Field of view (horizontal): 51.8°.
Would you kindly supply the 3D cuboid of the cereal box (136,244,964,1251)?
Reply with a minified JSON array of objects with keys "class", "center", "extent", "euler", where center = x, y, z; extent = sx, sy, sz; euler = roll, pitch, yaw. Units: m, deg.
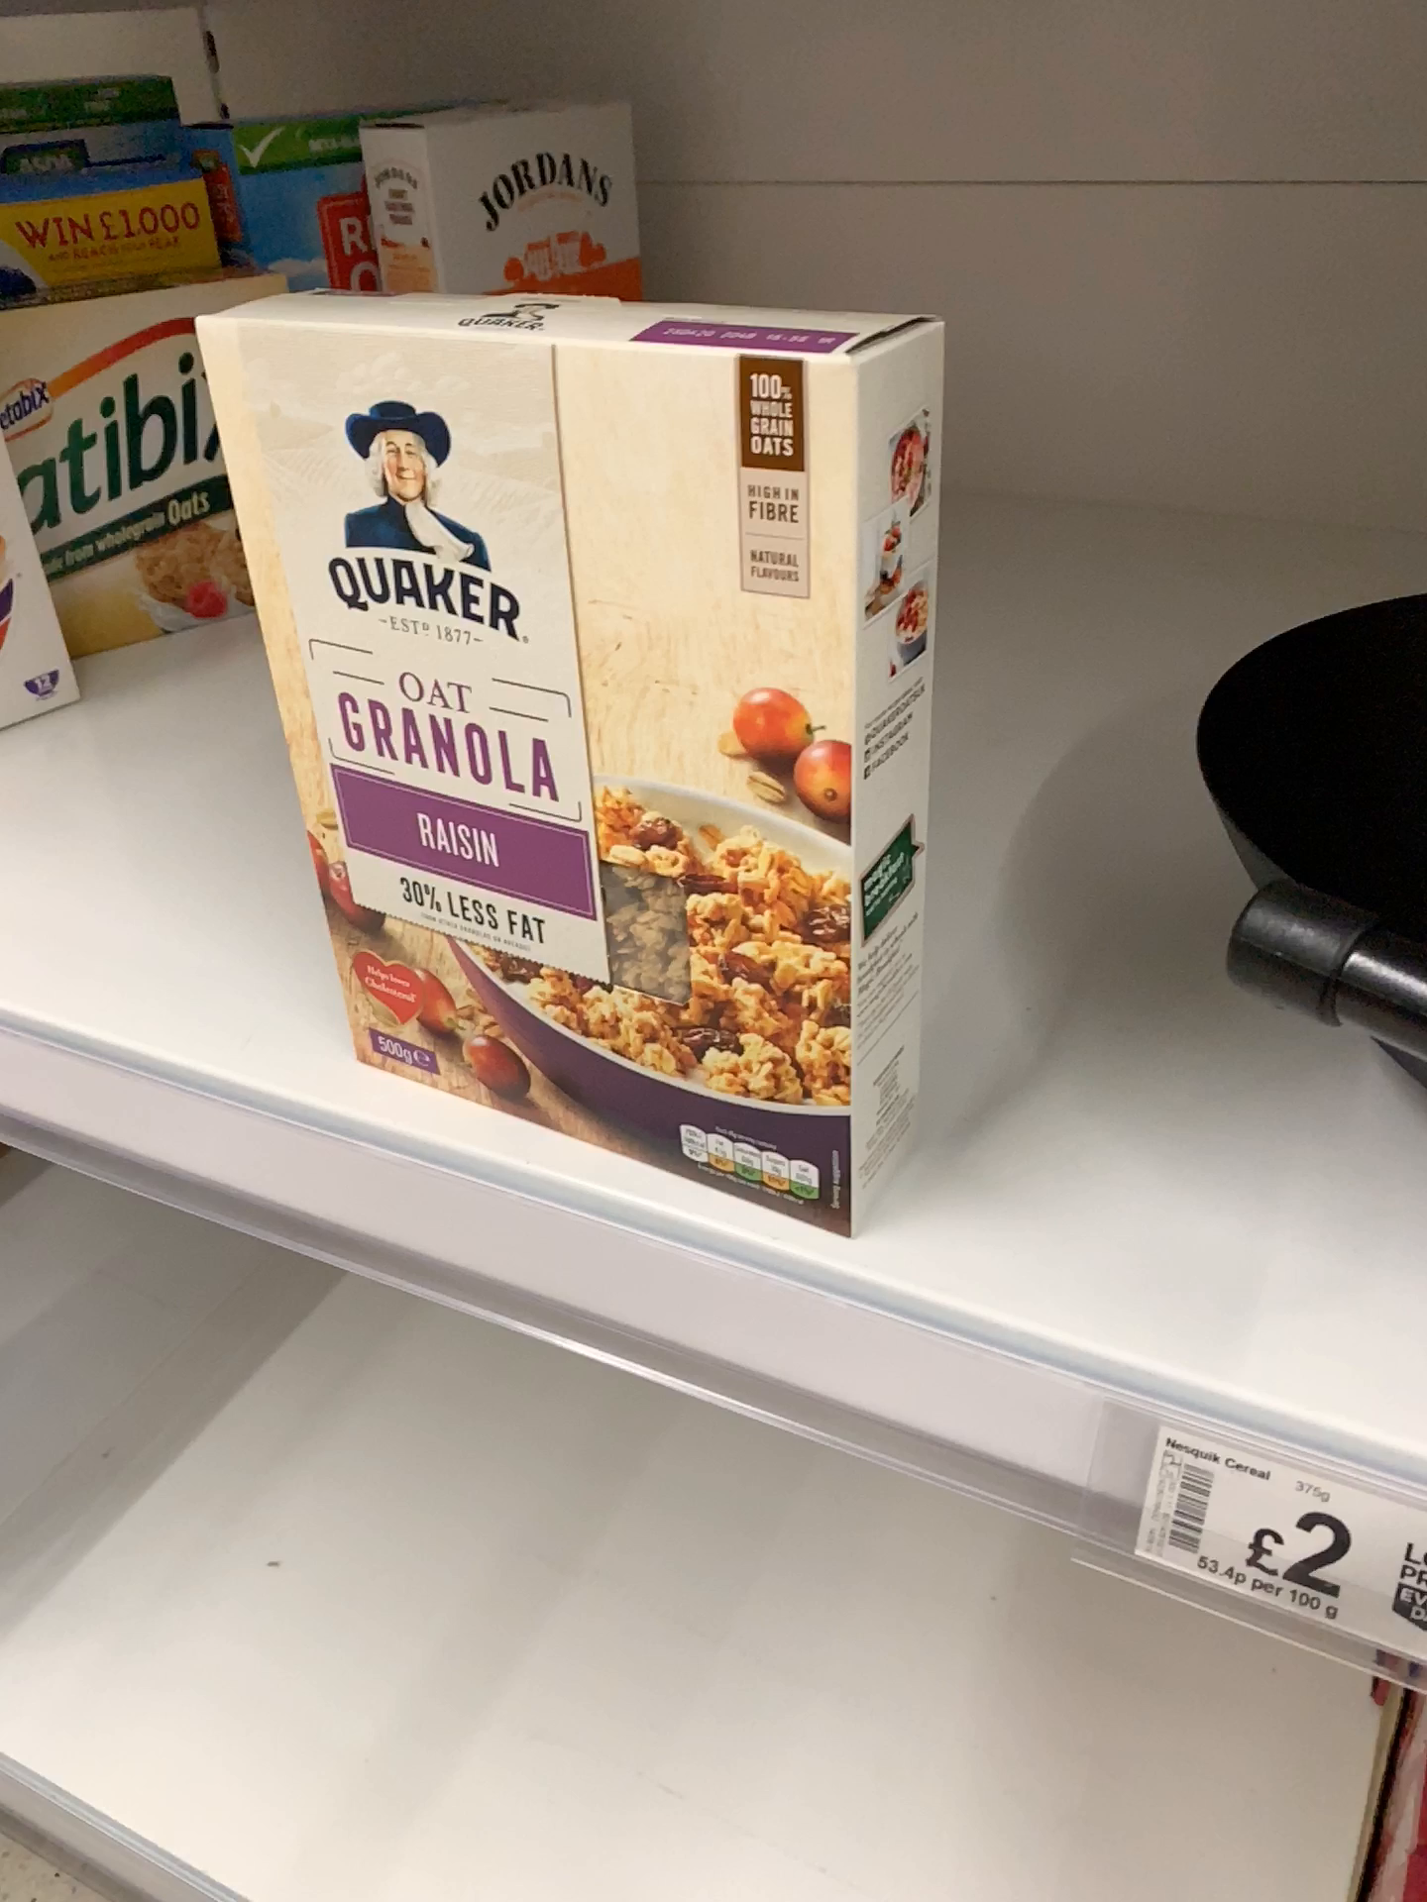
[{"class":"cereal box","center":[-0.039,-0.058,0.417],"extent":[0.200,0.248,0.060],"euler":[15,37,27]}]
